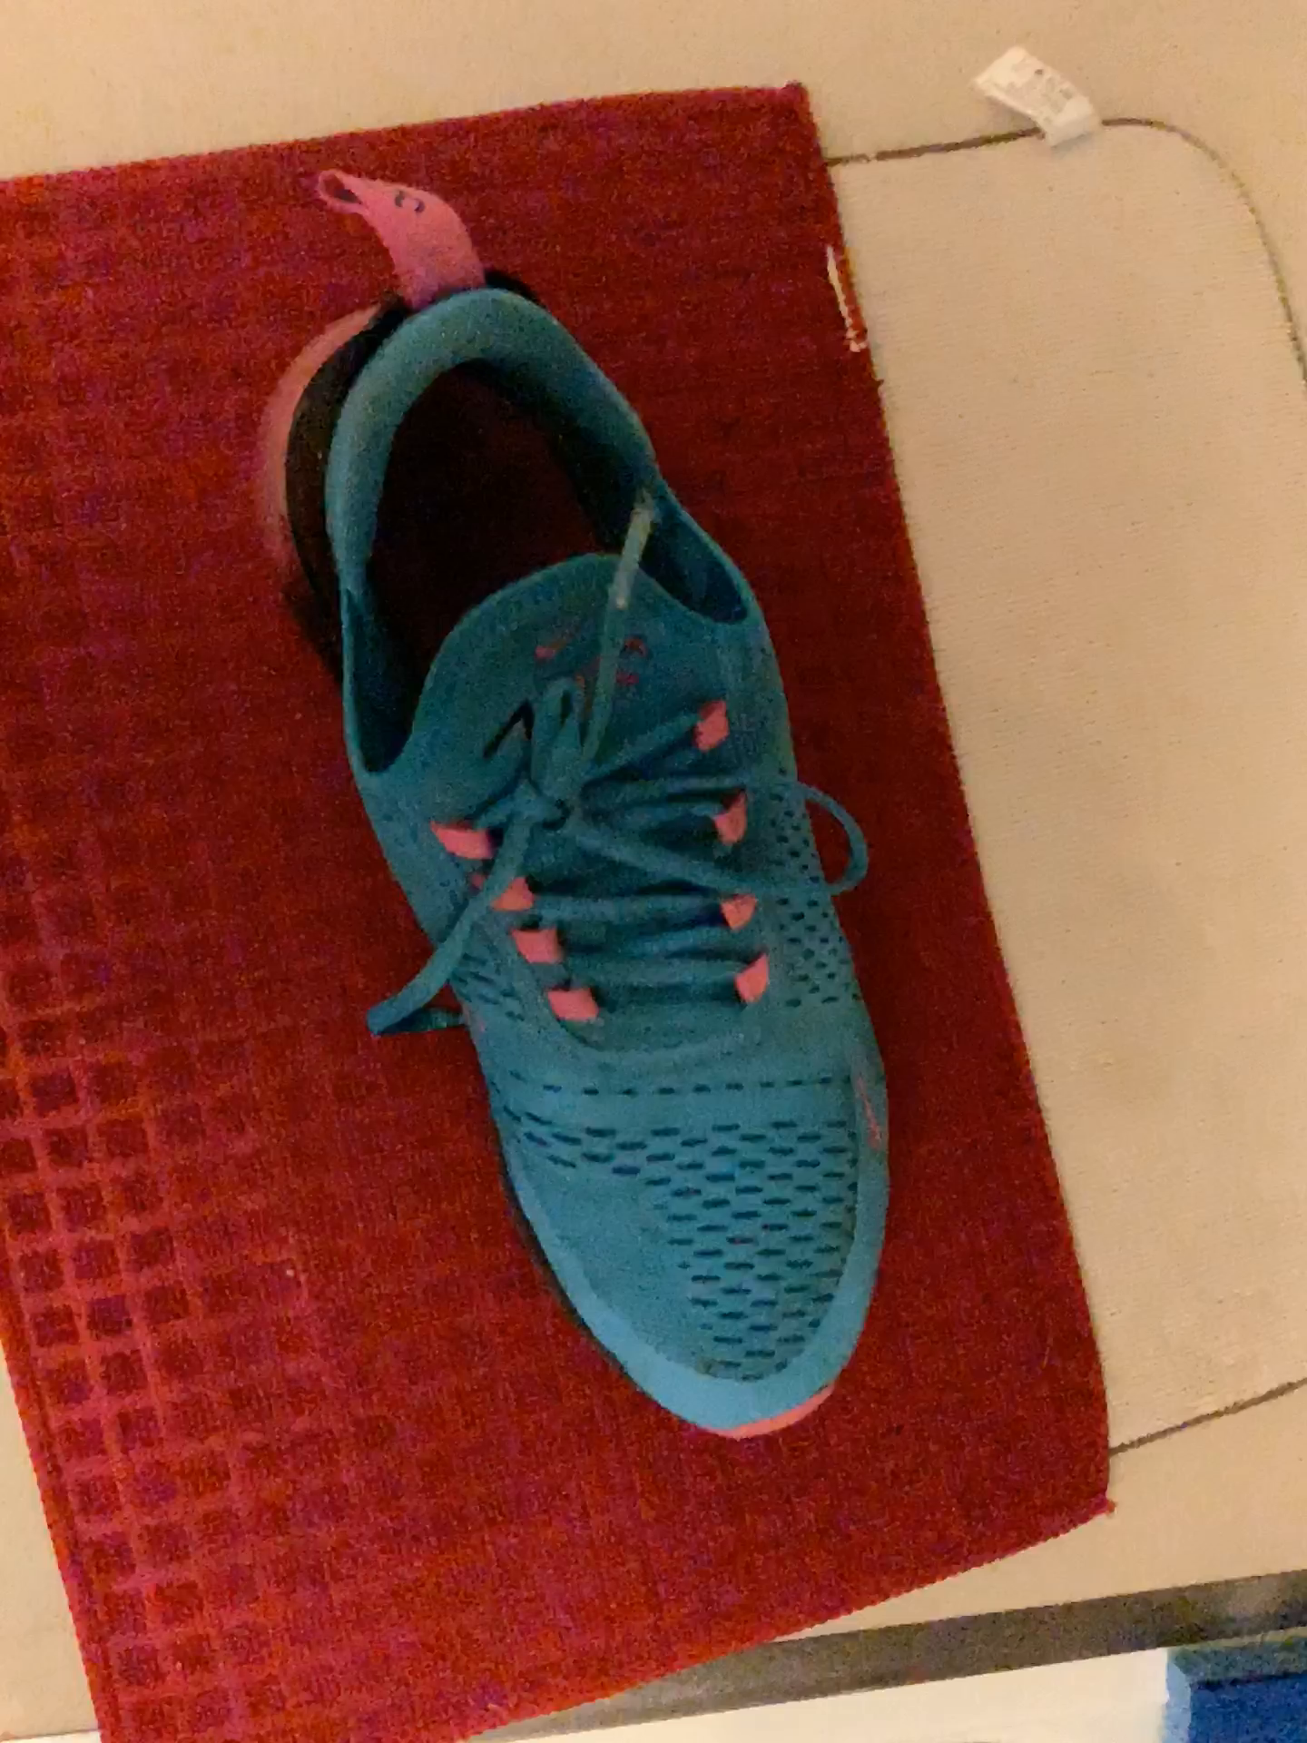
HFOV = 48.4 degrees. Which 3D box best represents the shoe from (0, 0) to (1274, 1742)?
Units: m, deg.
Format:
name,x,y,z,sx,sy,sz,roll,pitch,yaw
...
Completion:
name,x,y,z,sx,sy,sz,roll,pitch,yaw
shoe,-0.008,-0.007,0.347,0.150,0.130,0.330,-21,93,-10
